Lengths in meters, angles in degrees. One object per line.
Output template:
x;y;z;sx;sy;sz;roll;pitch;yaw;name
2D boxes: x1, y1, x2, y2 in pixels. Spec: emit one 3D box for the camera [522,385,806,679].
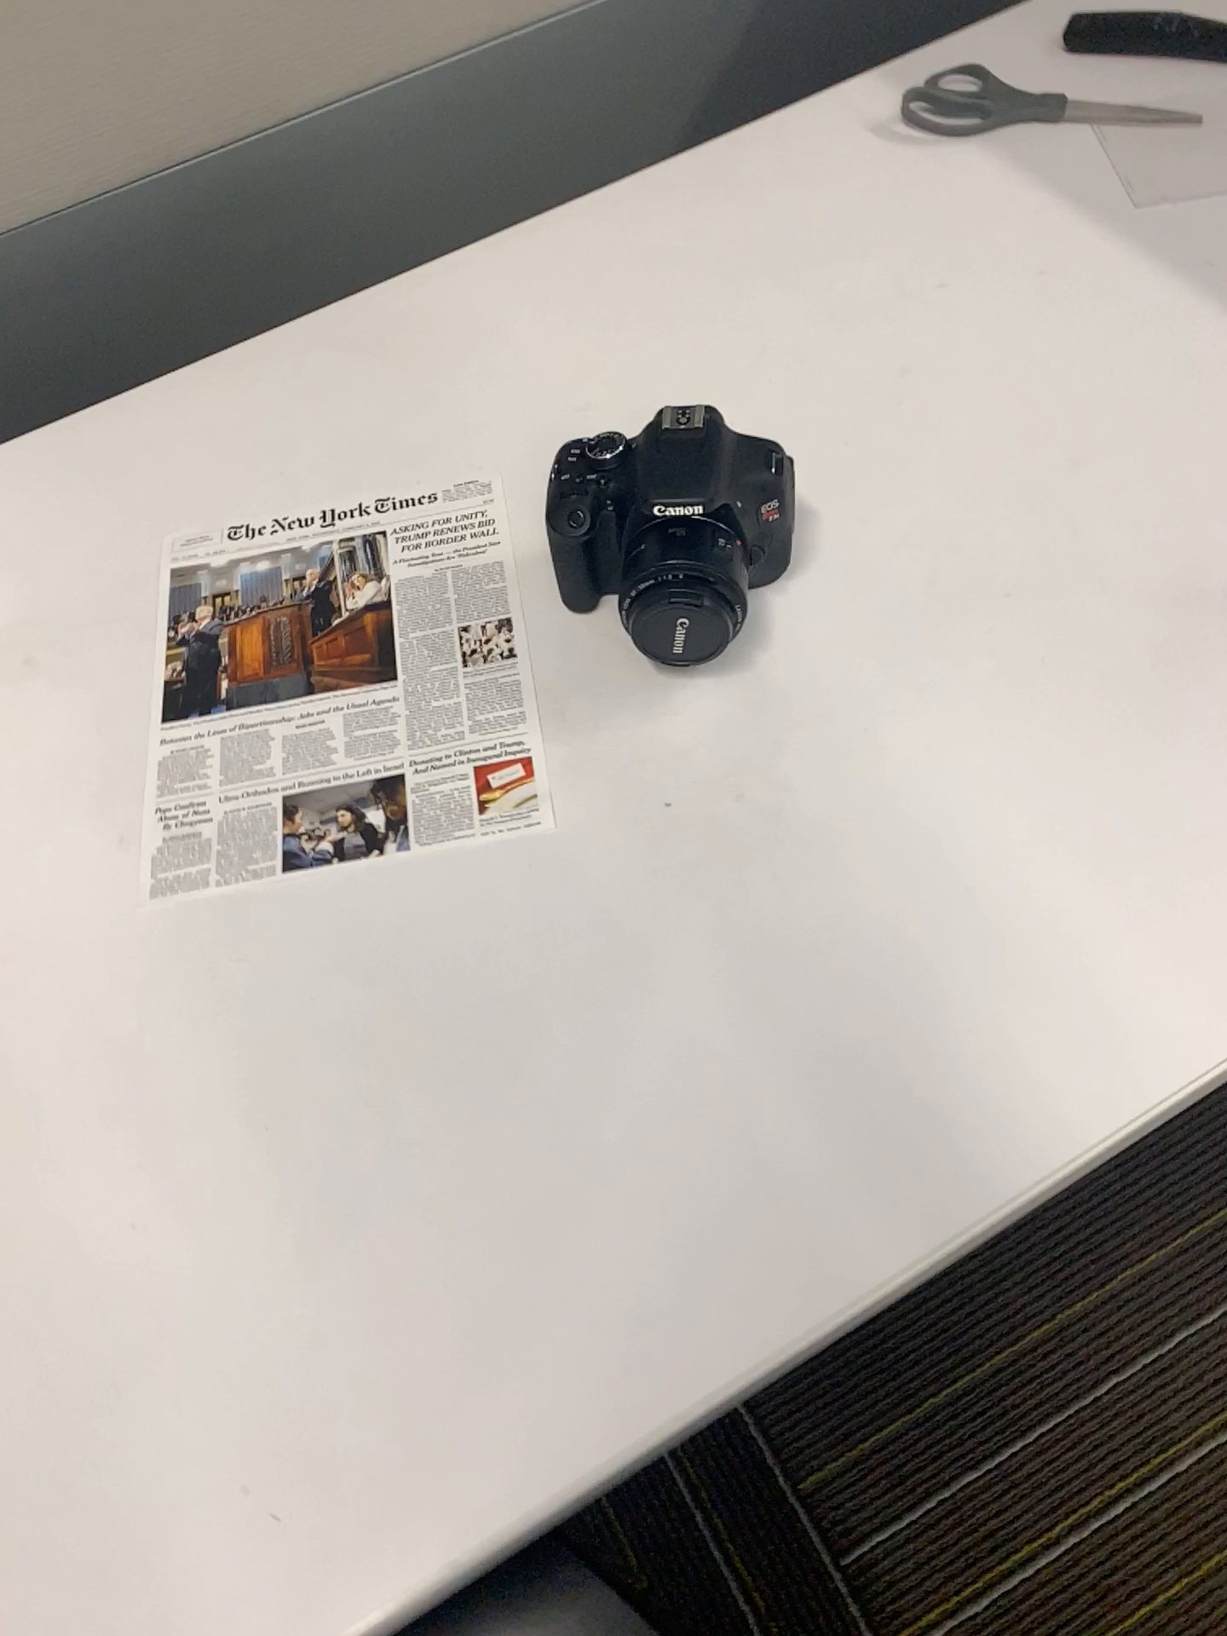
0.032;-0.151;0.670;0.136;0.090;0.119;-1;56;8;camera
